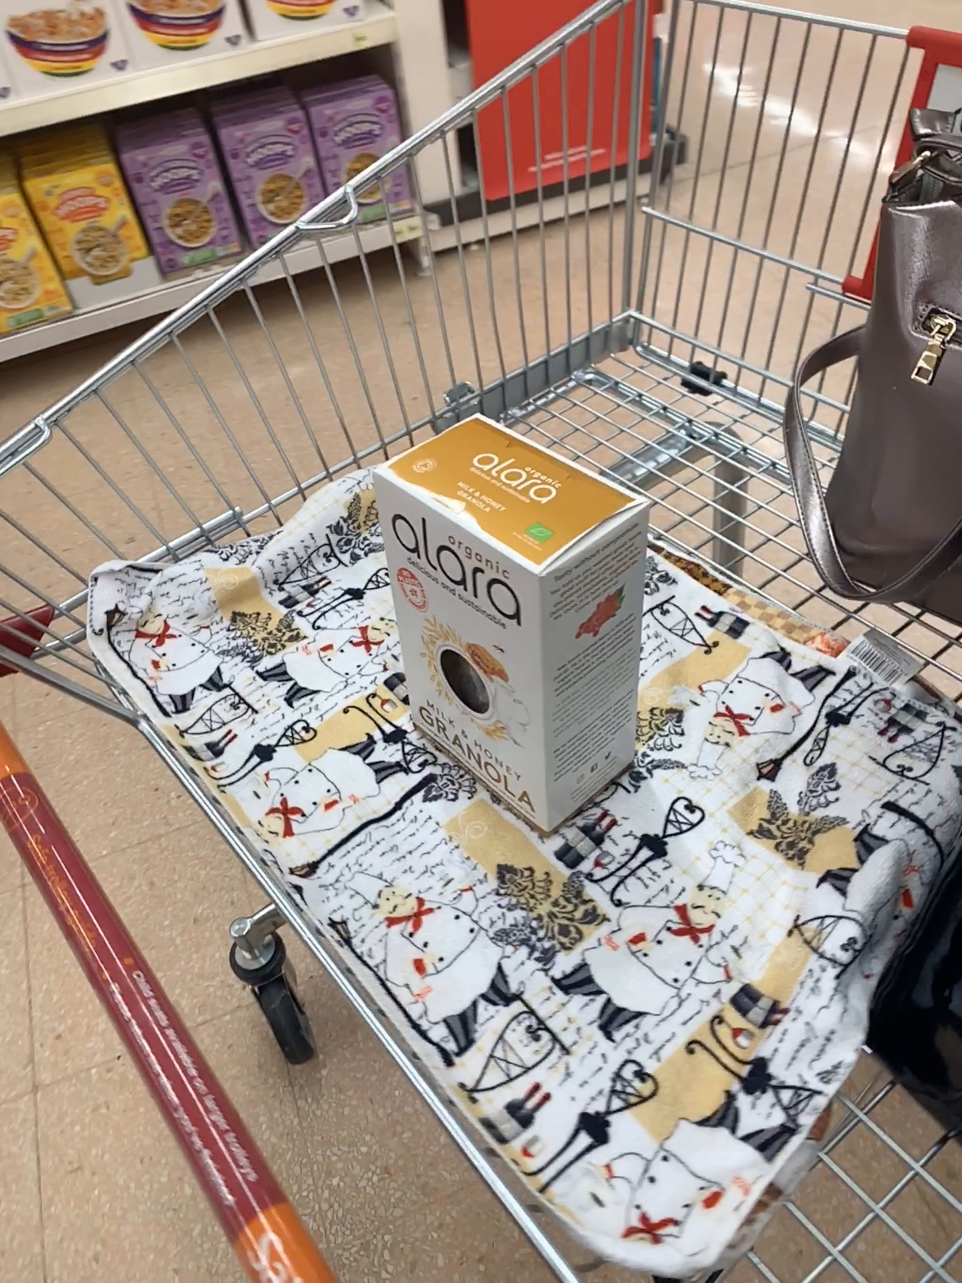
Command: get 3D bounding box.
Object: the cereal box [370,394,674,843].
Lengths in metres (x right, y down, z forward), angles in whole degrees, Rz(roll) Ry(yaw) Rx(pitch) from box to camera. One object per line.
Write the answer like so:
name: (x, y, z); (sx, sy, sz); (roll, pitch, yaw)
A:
cereal box: (0.023, -0.008, 0.529); (0.080, 0.198, 0.121); (-36, 52, -28)
